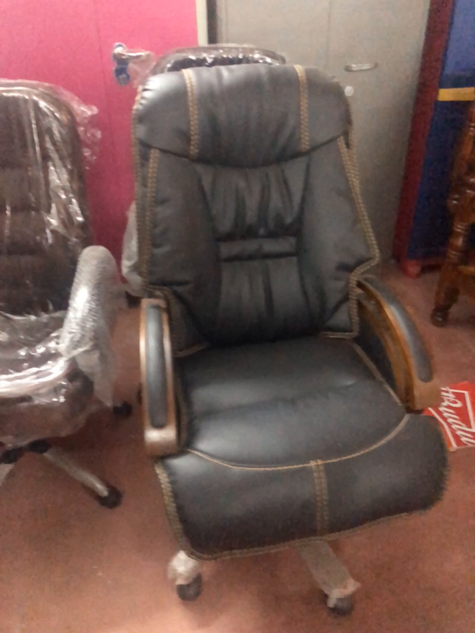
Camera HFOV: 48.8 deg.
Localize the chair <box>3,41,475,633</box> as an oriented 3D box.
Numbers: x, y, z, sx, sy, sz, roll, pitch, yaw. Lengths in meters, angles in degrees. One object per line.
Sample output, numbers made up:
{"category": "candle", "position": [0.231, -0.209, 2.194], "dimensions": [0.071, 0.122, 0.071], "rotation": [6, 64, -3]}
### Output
{"category": "chair", "position": [0.063, 0.019, 1.122], "dimensions": [0.701, 0.995, 0.794], "rotation": [-7, 33, -9]}
